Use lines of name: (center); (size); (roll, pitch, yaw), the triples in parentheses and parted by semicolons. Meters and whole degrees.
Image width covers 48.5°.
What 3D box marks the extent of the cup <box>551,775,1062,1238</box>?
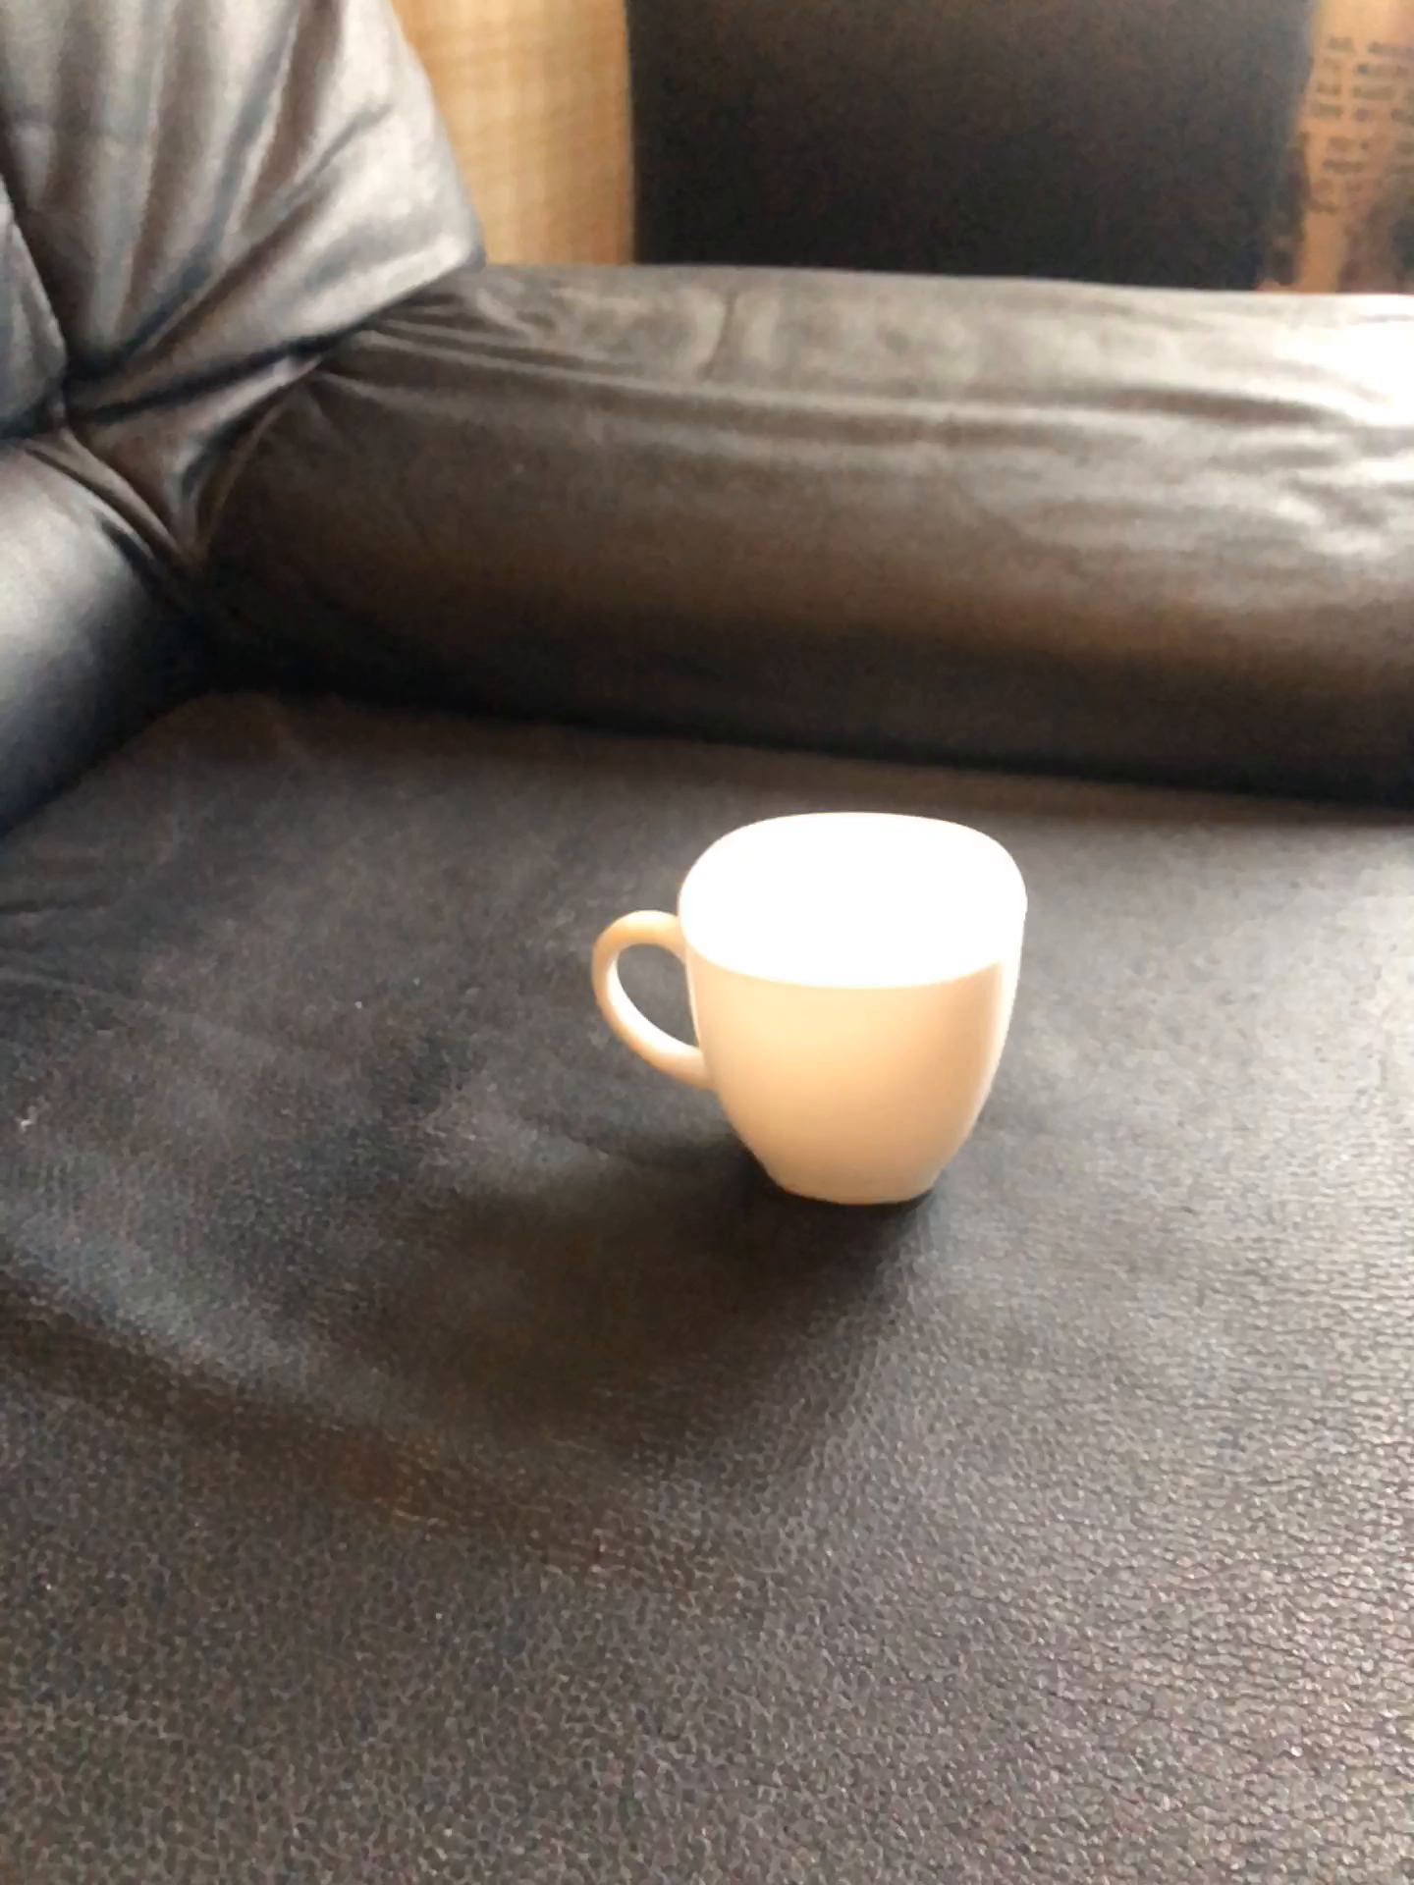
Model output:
cup: (0.027, 0.011, 0.373); (0.101, 0.063, 0.081); (8, 33, 14)
